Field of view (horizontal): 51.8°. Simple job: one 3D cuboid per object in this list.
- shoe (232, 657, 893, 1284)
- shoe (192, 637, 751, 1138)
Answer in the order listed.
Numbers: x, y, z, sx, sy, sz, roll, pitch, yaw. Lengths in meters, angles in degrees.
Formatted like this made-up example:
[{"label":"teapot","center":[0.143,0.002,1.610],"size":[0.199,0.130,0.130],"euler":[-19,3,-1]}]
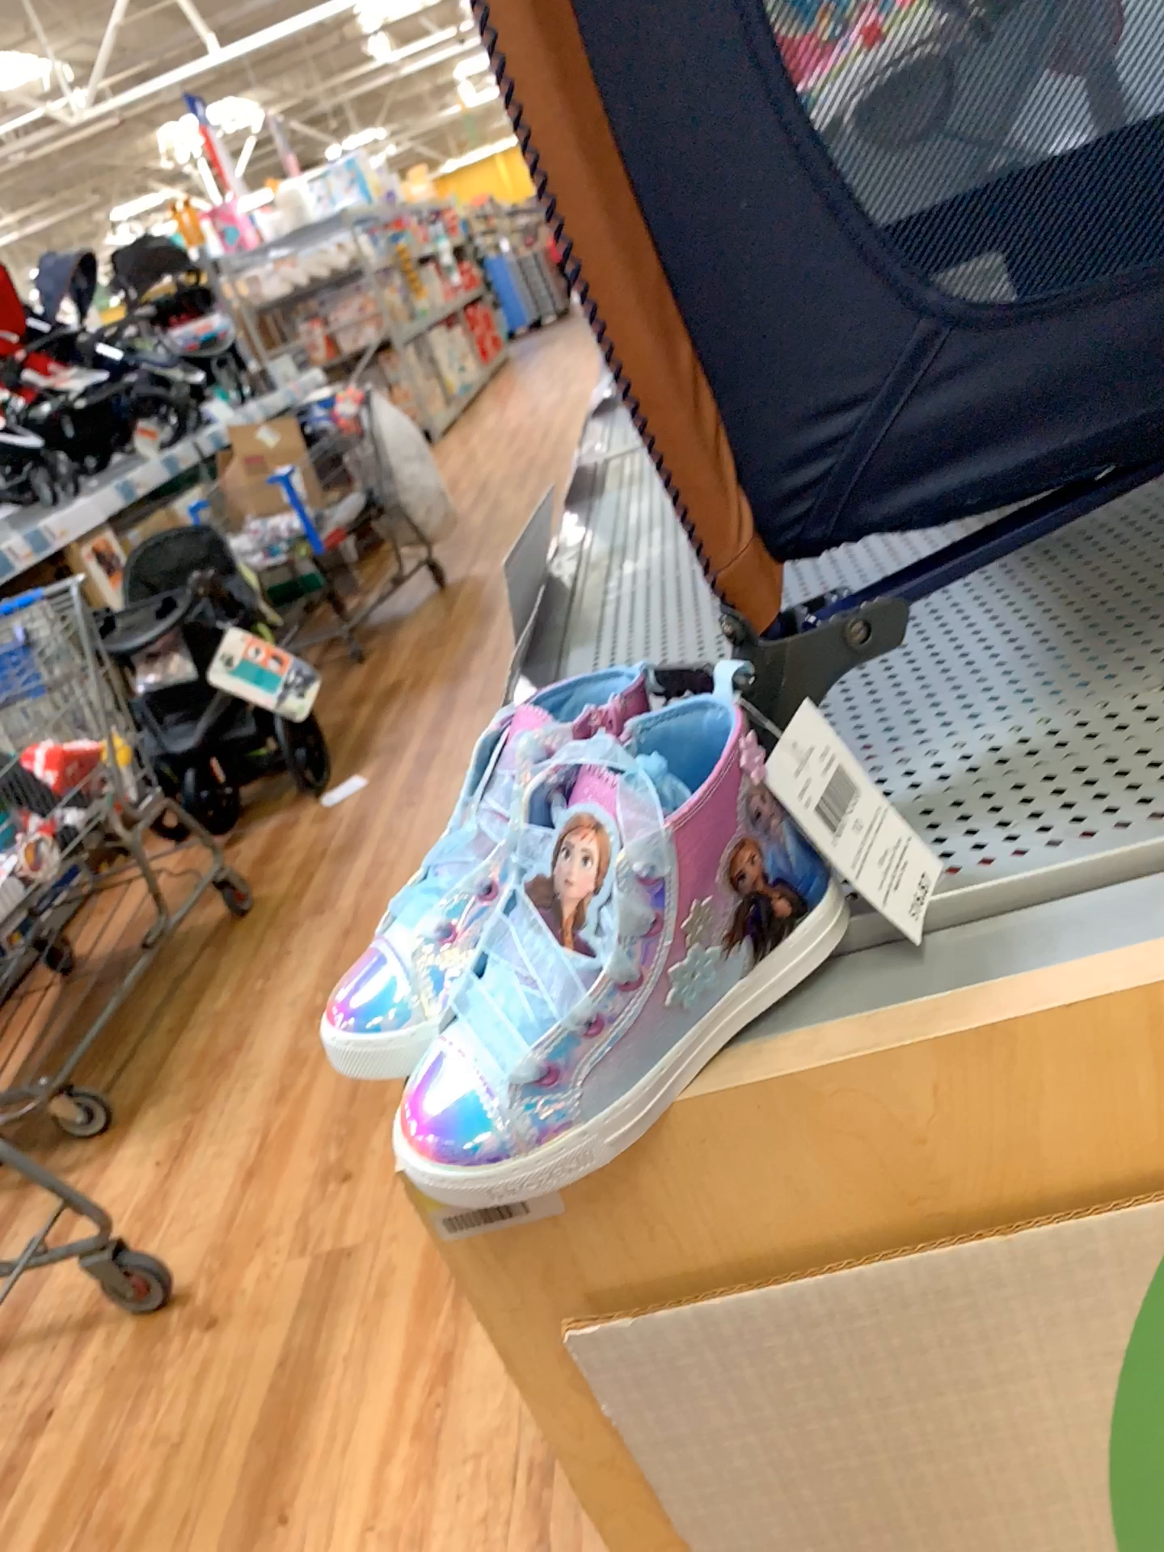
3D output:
[{"label":"shoe","center":[-0.002,0.055,0.406],"size":[0.182,0.102,0.090],"euler":[-31,30,-19]},{"label":"shoe","center":[-0.041,0.035,0.479],"size":[0.182,0.102,0.080],"euler":[-31,25,-19]}]
